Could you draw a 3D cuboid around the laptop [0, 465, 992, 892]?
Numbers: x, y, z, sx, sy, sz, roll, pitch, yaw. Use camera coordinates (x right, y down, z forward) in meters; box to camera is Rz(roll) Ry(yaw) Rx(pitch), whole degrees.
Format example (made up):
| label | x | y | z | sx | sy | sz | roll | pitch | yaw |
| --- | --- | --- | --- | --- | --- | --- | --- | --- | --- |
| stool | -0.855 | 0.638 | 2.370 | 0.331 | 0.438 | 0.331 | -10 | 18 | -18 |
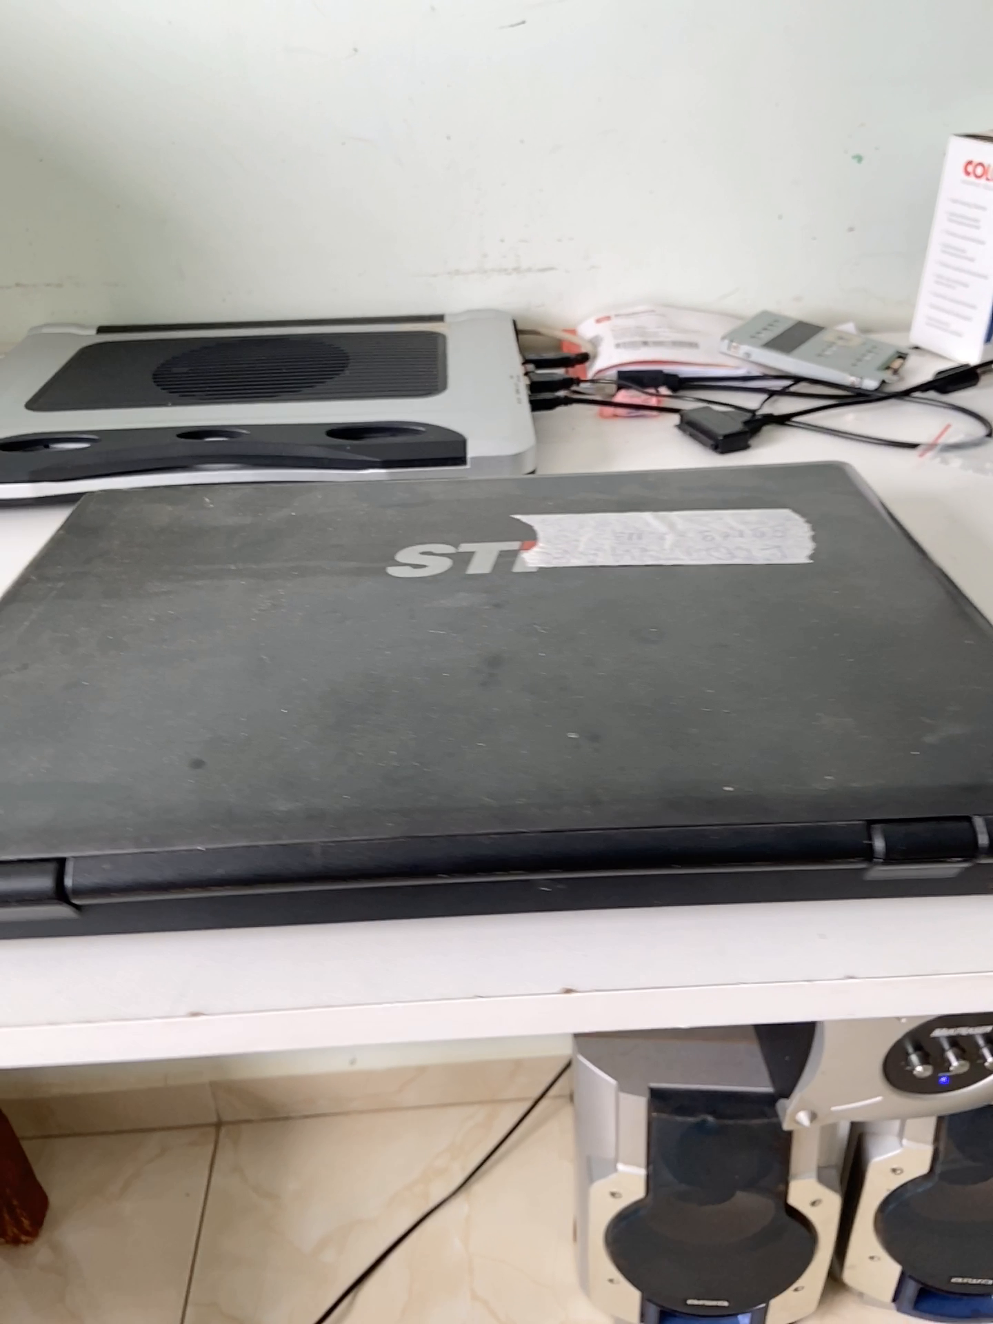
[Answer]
| label | x | y | z | sx | sy | sz | roll | pitch | yaw |
| --- | --- | --- | --- | --- | --- | --- | --- | --- | --- |
| laptop | -0.013 | -0.014 | 0.355 | 0.337 | 0.006 | 0.236 | -3 | 32 | 0 |
